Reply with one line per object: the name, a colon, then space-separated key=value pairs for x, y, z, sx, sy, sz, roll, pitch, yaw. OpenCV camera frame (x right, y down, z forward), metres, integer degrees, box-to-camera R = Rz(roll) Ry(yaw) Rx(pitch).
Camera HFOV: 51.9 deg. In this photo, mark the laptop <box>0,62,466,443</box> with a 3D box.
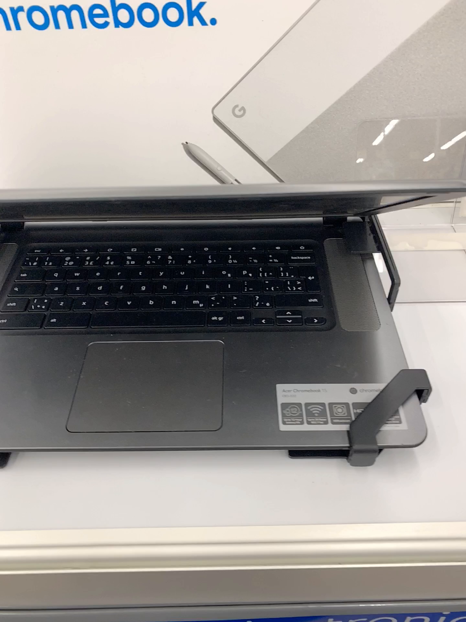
laptop: x=-0.050 y=-0.042 z=0.280 sx=0.301 sy=0.116 sz=0.194 roll=-1 pitch=48 yaw=1
